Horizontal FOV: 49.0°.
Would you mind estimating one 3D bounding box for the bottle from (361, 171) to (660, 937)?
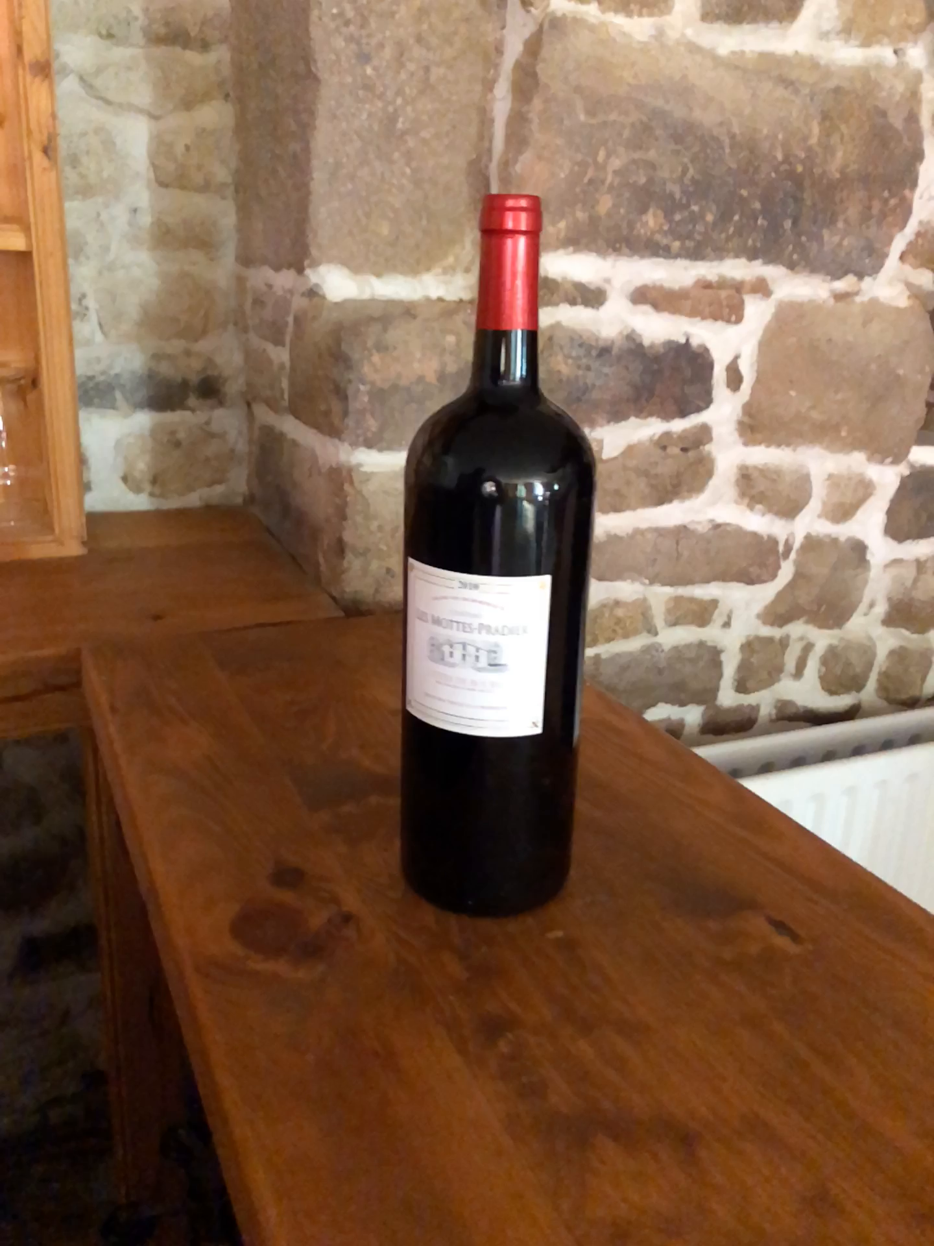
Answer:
[{"bbox_3d":[0.018,-0.032,0.516,0.100,0.348,0.101,3,18,-1],"label":"bottle"}]
